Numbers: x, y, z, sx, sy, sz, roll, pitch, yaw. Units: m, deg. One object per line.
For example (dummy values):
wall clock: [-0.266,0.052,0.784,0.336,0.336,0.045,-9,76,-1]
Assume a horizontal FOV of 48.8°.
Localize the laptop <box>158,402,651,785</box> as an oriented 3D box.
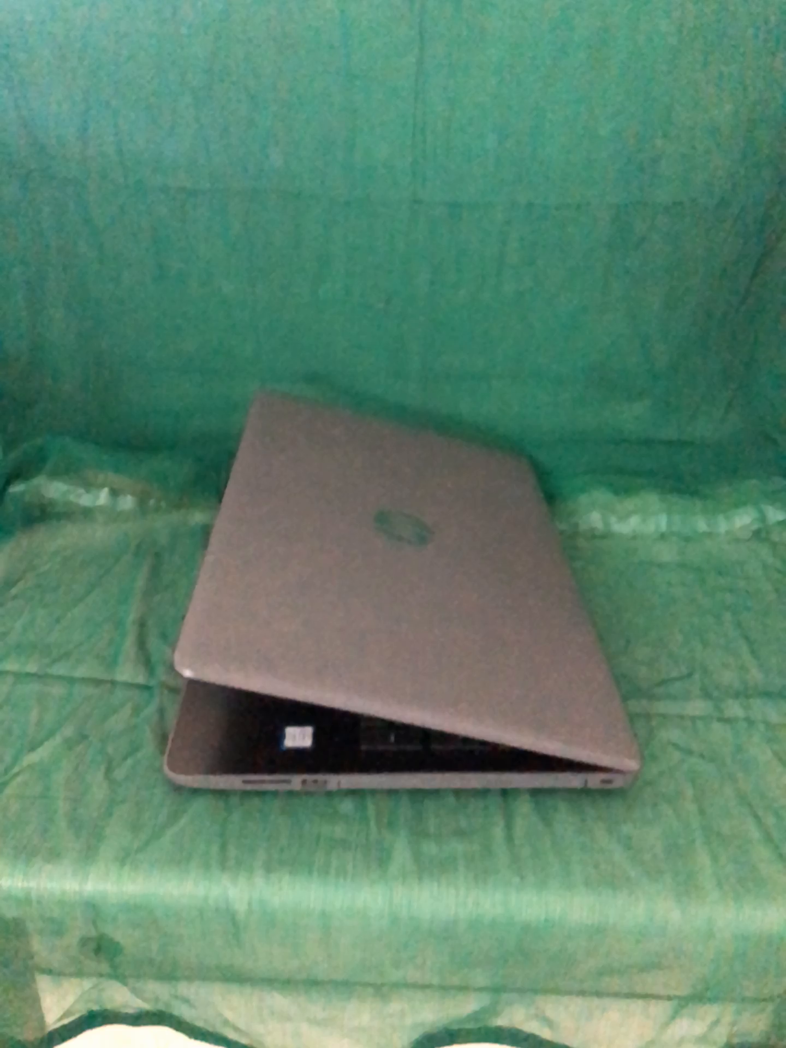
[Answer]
laptop: [0.003,0.015,0.580,0.231,0.066,0.361,1,28,-1]
